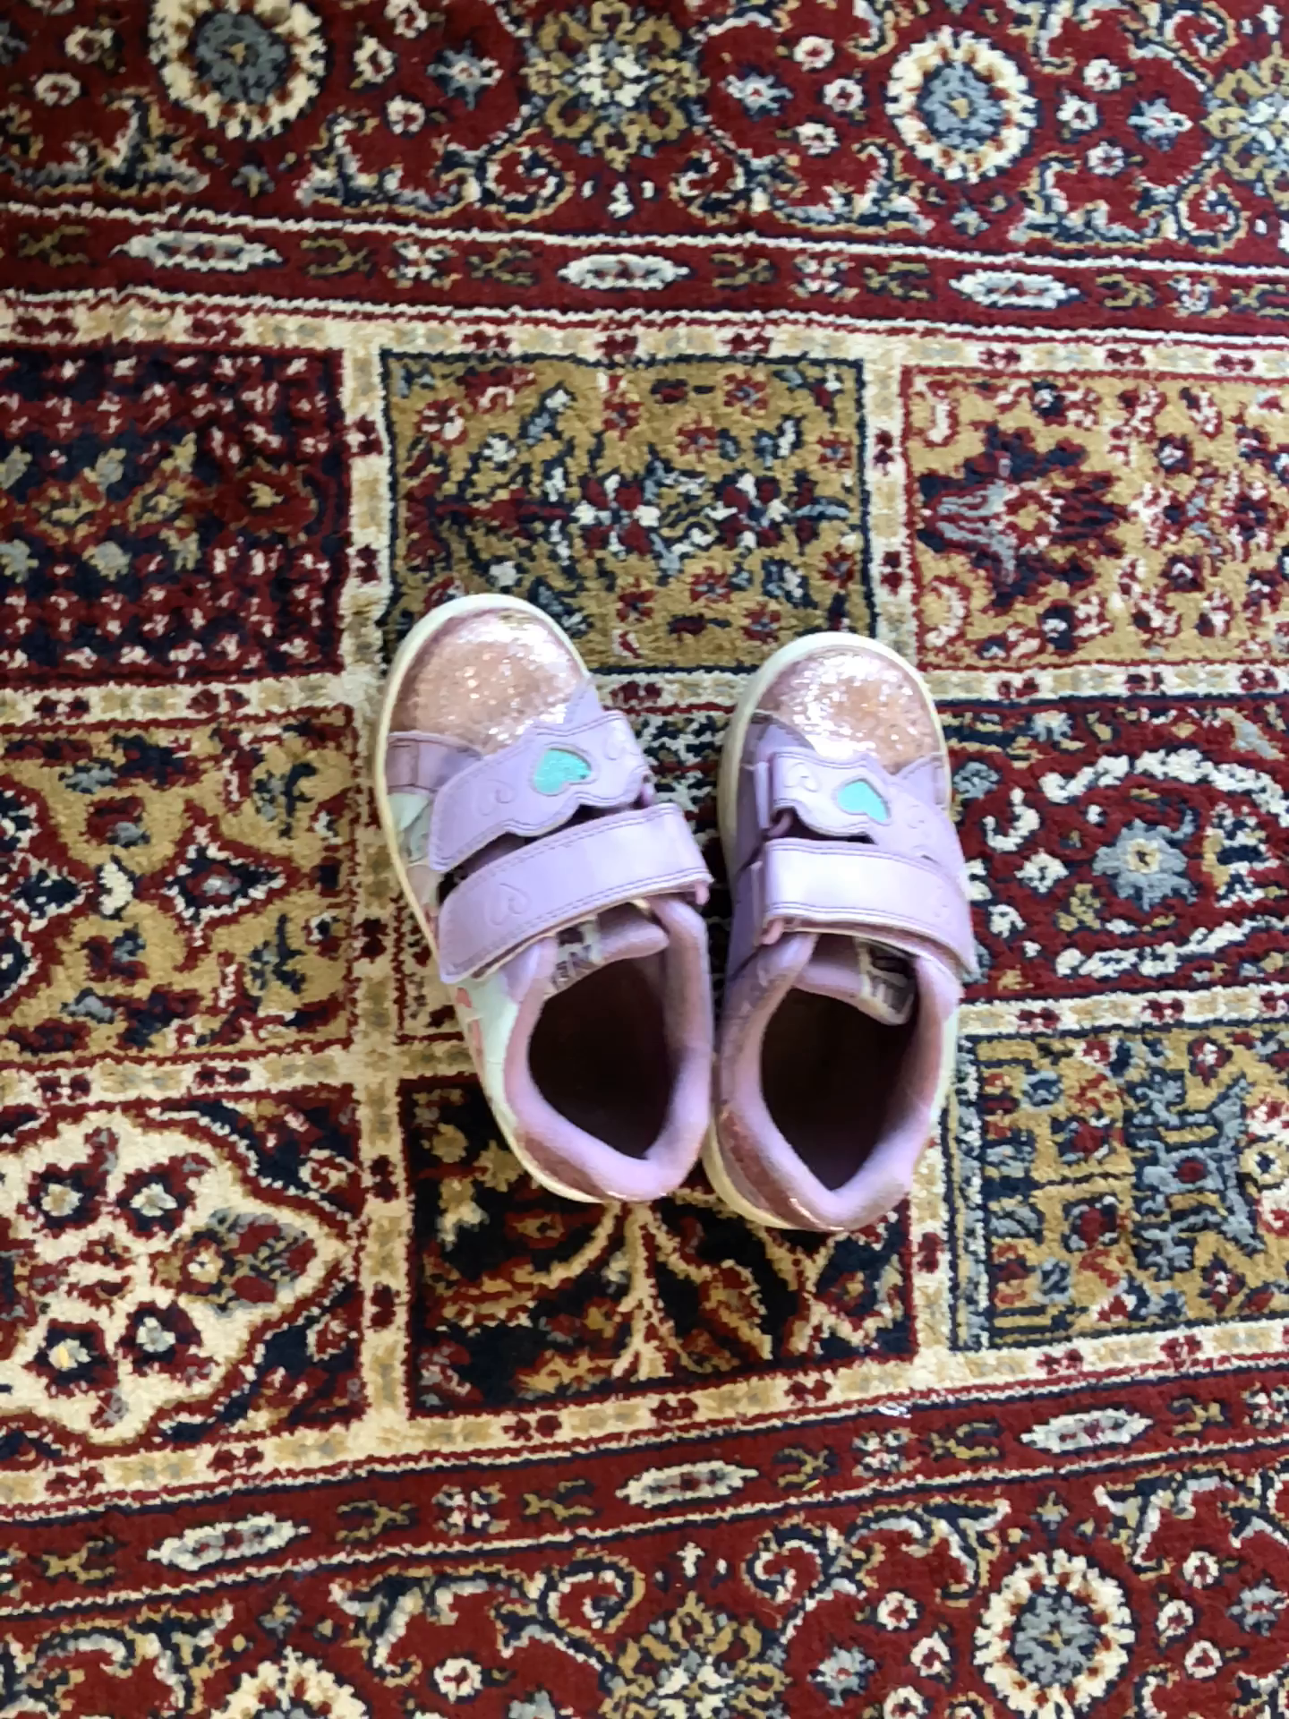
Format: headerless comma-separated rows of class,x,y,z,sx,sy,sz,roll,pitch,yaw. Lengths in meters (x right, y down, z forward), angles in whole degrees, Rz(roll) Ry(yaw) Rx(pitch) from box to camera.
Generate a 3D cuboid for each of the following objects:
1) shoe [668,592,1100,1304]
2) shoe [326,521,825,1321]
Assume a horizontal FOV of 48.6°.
shoe,0.073,0.029,0.461,0.100,0.090,0.200,5,85,-10
shoe,-0.026,0.017,0.445,0.090,0.090,0.208,-15,89,-11
